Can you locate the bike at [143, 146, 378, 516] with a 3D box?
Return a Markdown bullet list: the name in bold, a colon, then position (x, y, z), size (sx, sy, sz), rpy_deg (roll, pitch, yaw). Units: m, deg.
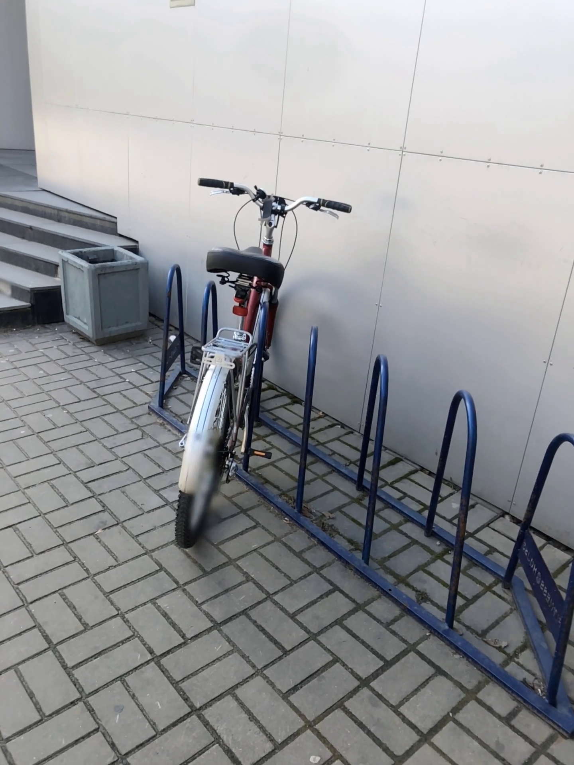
- **bike**: position (-0.036, -0.328, 2.531), size (0.595, 0.972, 1.312), rpy_deg (8, 26, 7)
